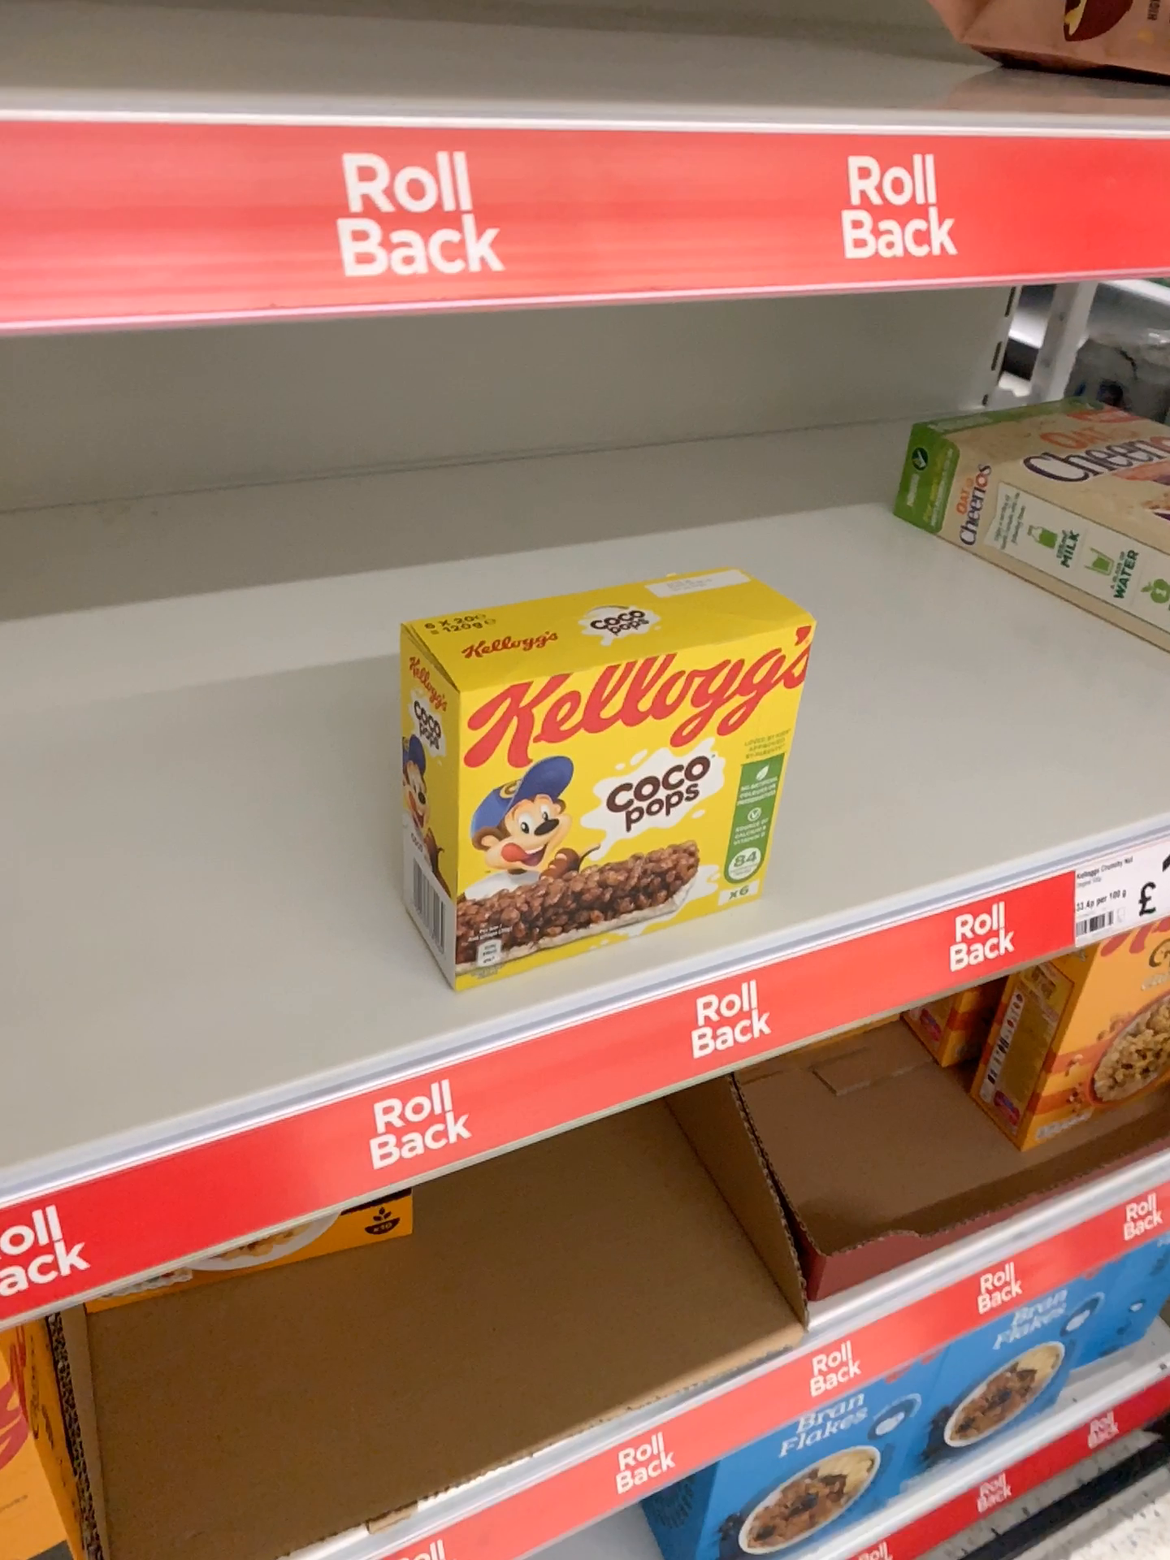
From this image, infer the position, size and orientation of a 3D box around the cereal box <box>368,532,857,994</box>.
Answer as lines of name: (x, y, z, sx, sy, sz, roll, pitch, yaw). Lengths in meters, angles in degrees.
cereal box: (0.007, -0.010, 0.424, 0.150, 0.119, 0.060, -14, 39, -26)
